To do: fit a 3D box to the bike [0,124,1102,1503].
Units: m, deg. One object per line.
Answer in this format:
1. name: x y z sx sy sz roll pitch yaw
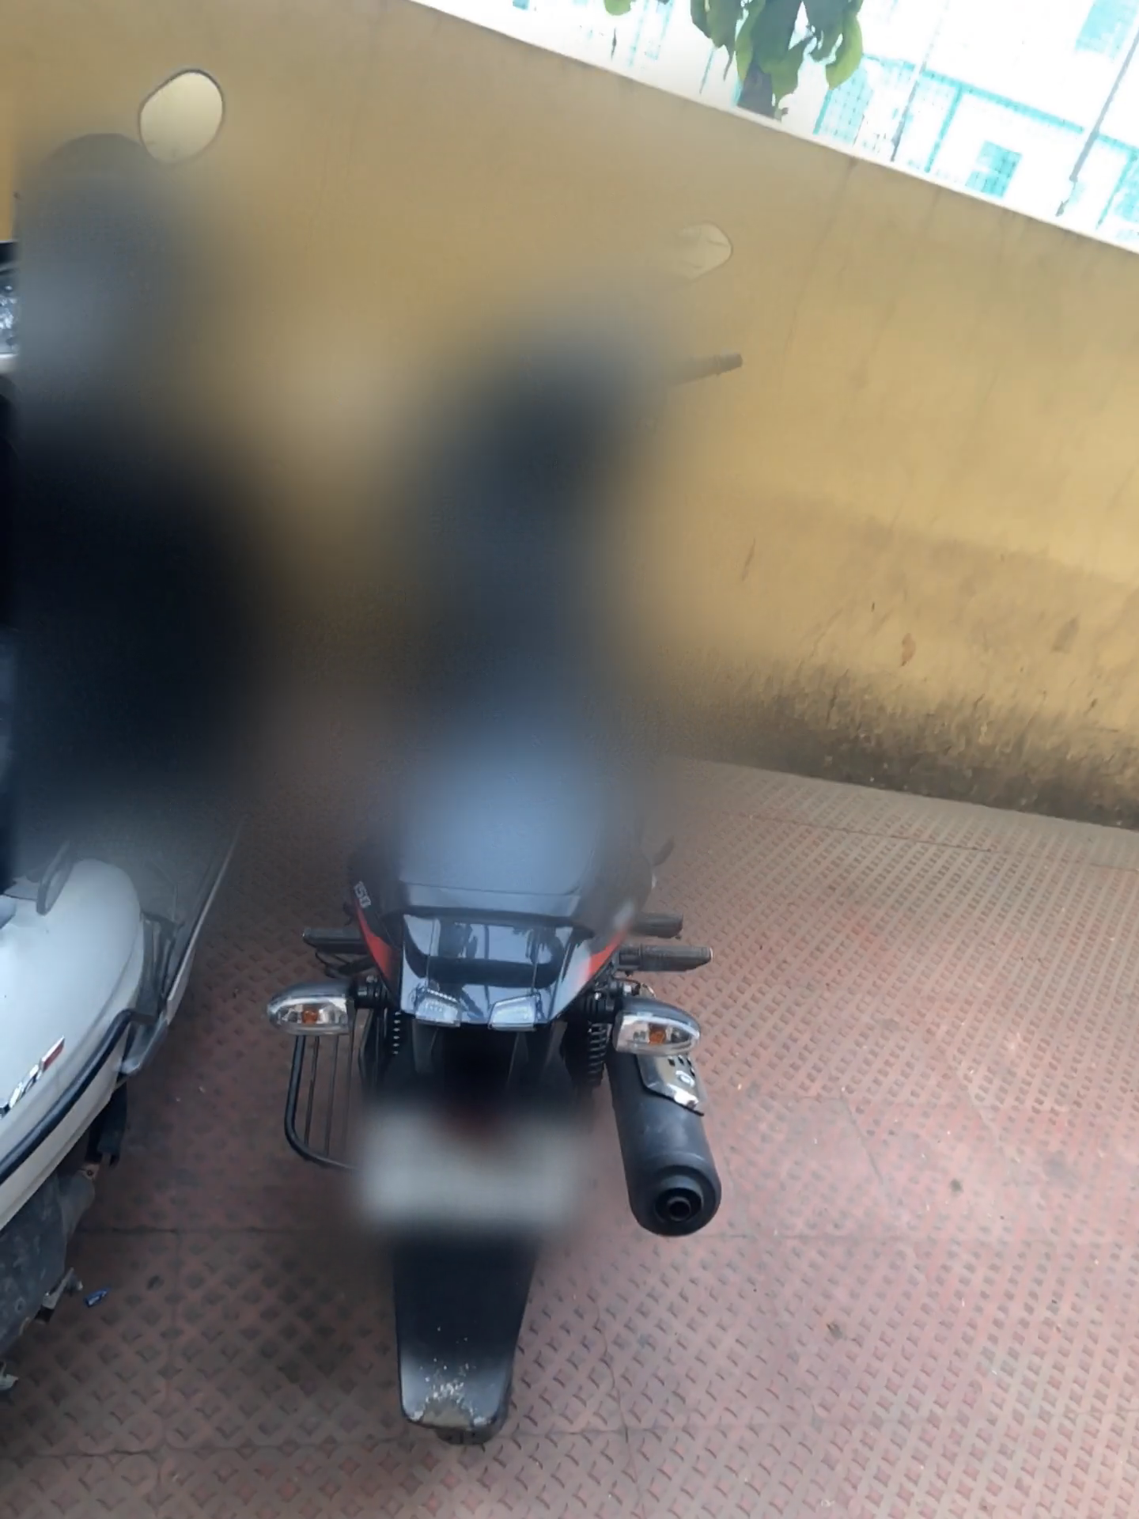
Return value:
1. bike: -0.230 -0.080 1.828 0.826 1.057 1.612 11 33 -16
